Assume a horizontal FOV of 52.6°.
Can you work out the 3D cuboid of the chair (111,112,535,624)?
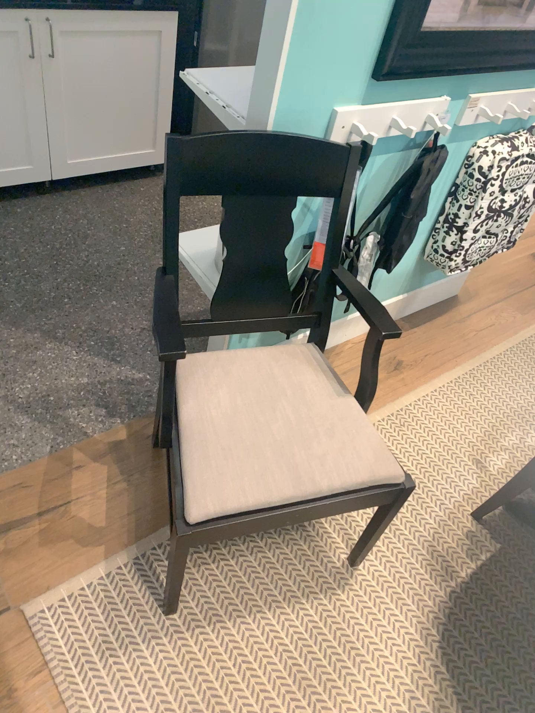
[{"bbox_3d":[-0.028,0.028,1.366,0.601,0.897,0.802,-6,49,-21],"label":"chair"}]
